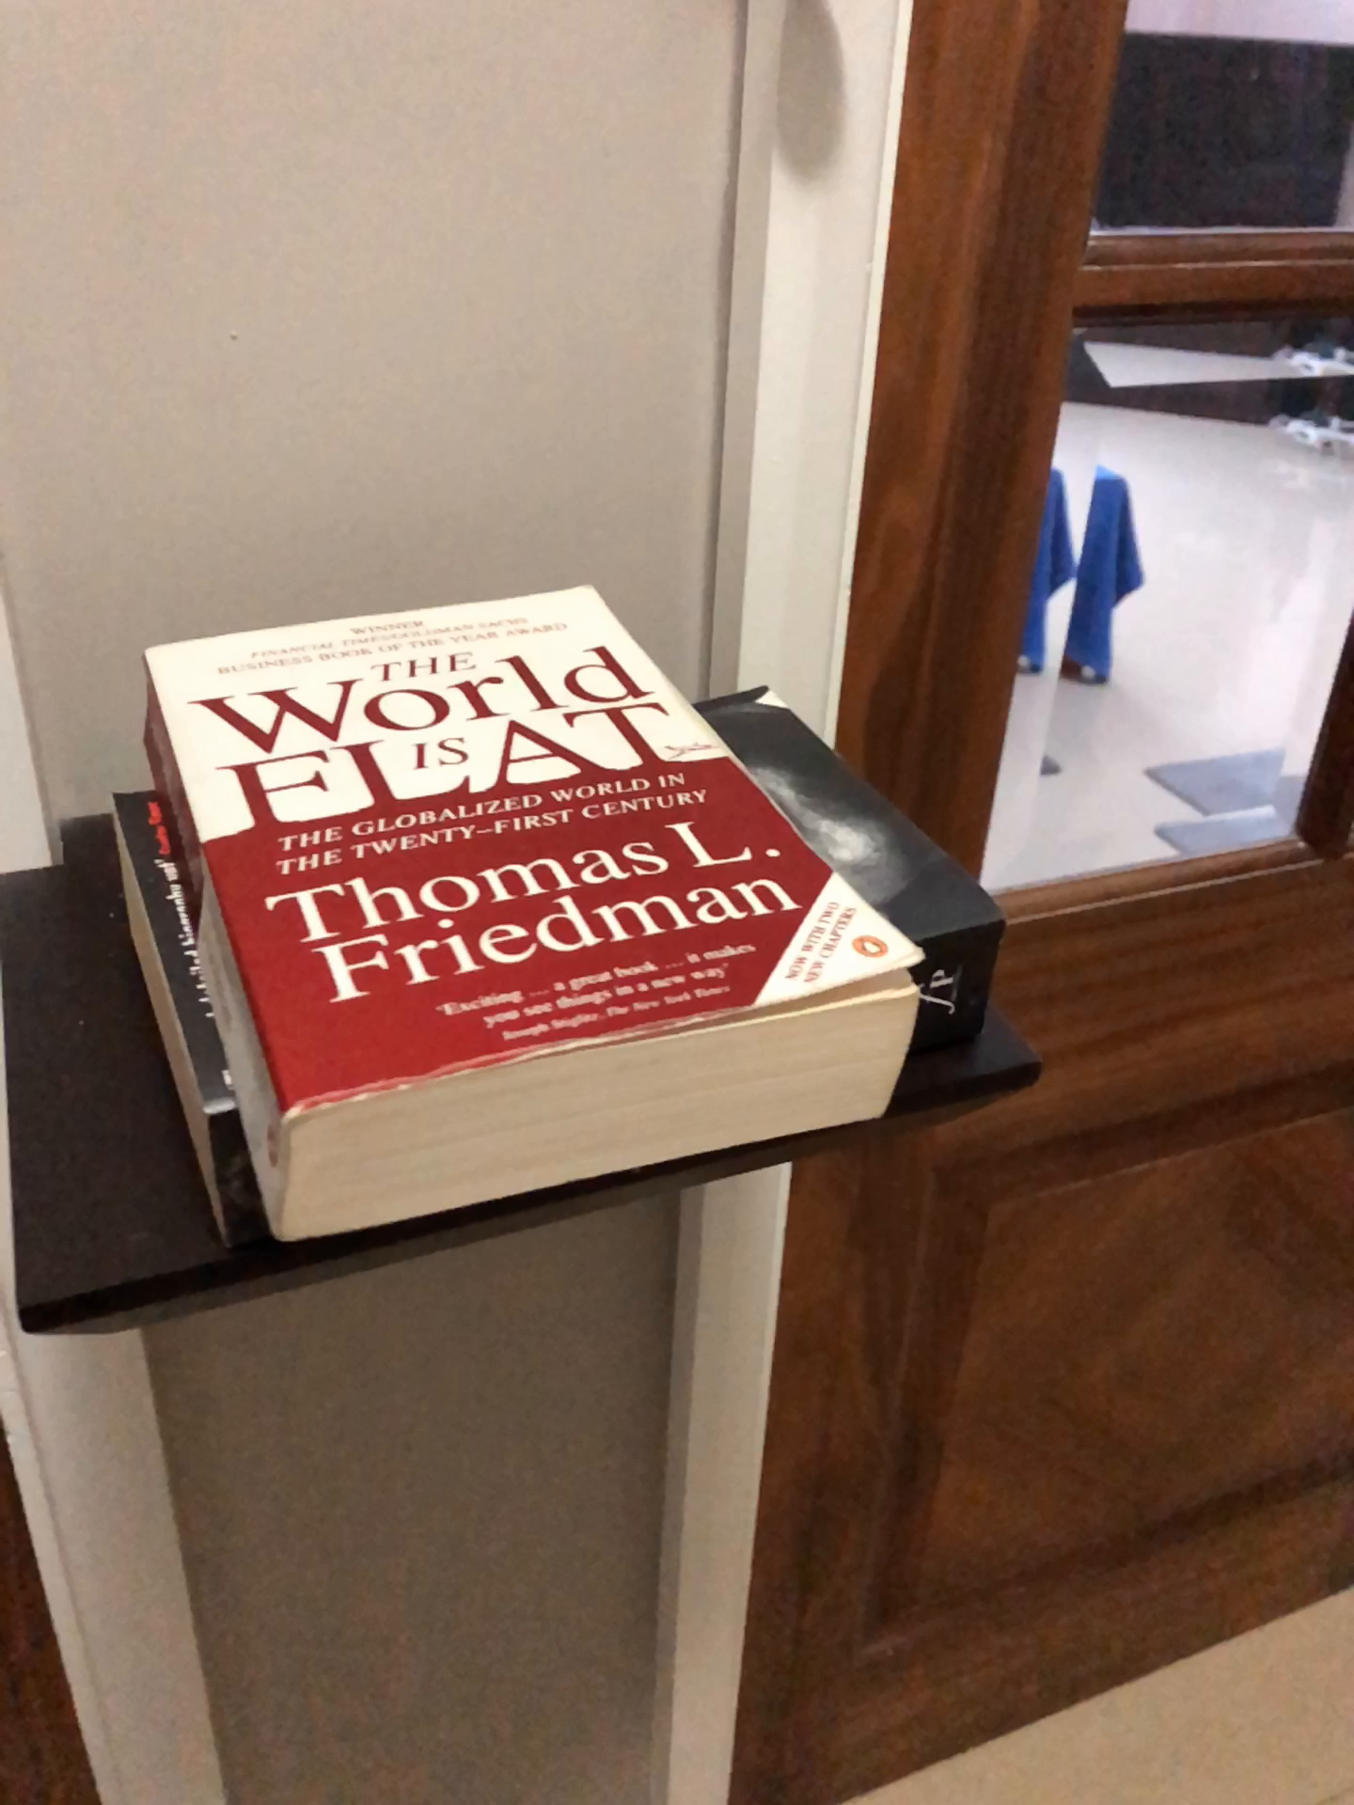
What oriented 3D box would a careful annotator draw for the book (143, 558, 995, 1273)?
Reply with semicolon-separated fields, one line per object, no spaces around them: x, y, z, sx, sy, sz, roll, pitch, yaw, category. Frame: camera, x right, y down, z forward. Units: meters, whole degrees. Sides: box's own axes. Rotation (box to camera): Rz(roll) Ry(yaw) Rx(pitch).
-0.042;-0.019;0.361;0.140;0.040;0.211;-11;36;-19;book

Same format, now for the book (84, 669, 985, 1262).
-0.043;0.001;0.416;0.200;0.040;0.151;-12;42;-26;book
